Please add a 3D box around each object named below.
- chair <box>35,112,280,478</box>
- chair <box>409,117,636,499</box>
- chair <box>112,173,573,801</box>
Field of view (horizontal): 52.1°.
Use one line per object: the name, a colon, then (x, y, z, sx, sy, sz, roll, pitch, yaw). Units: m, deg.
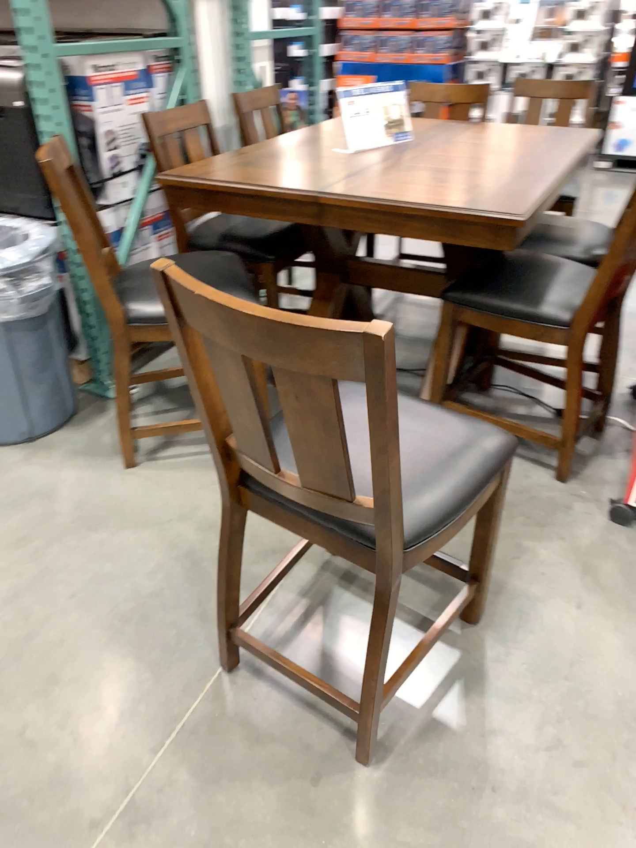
chair: (-0.480, -0.432, 2.168, 0.587, 1.022, 0.547, -7, 33, -11)
chair: (0.757, -0.411, 2.114, 0.598, 0.952, 0.656, 21, 38, 29)
chair: (0.067, 0.103, 1.344, 0.525, 1.022, 0.589, 20, 38, 28)
